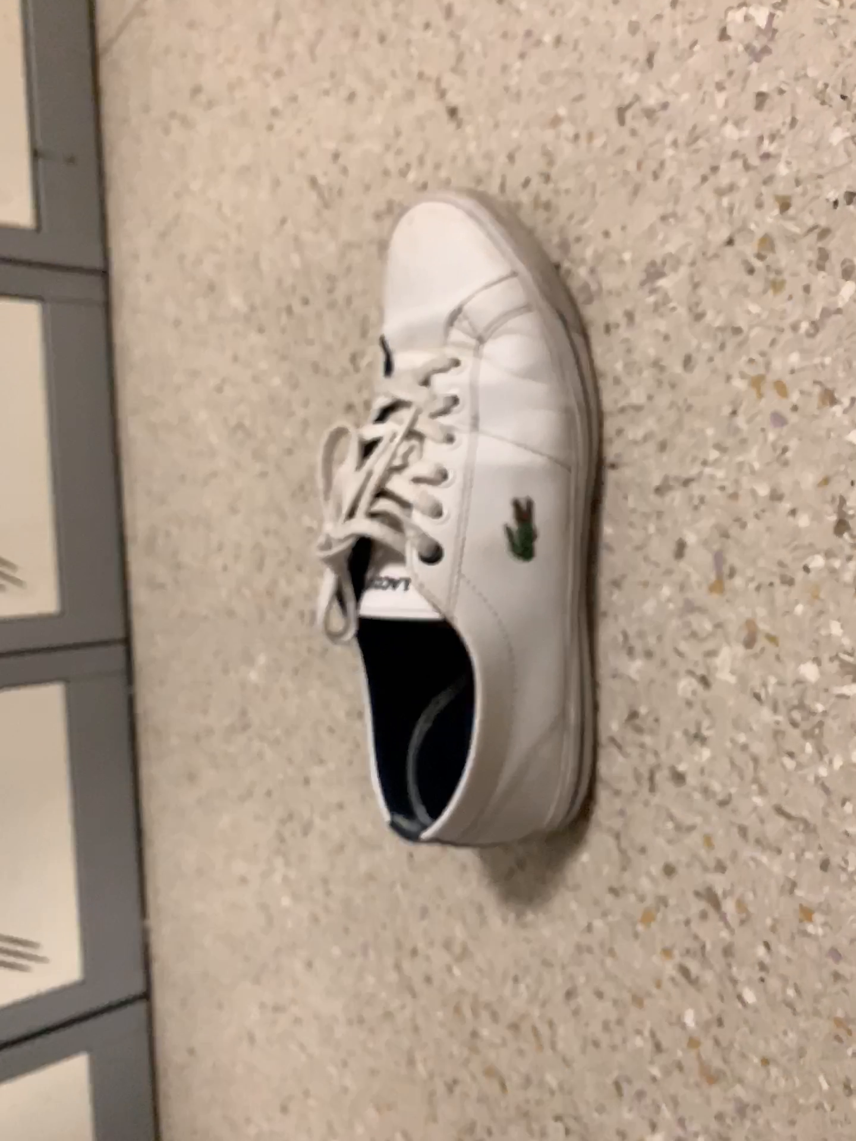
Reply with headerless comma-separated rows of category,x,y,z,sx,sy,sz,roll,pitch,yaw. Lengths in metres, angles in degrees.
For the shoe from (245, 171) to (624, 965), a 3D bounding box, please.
shoe,0.000,-0.002,0.347,0.101,0.089,0.250,-2,92,53
